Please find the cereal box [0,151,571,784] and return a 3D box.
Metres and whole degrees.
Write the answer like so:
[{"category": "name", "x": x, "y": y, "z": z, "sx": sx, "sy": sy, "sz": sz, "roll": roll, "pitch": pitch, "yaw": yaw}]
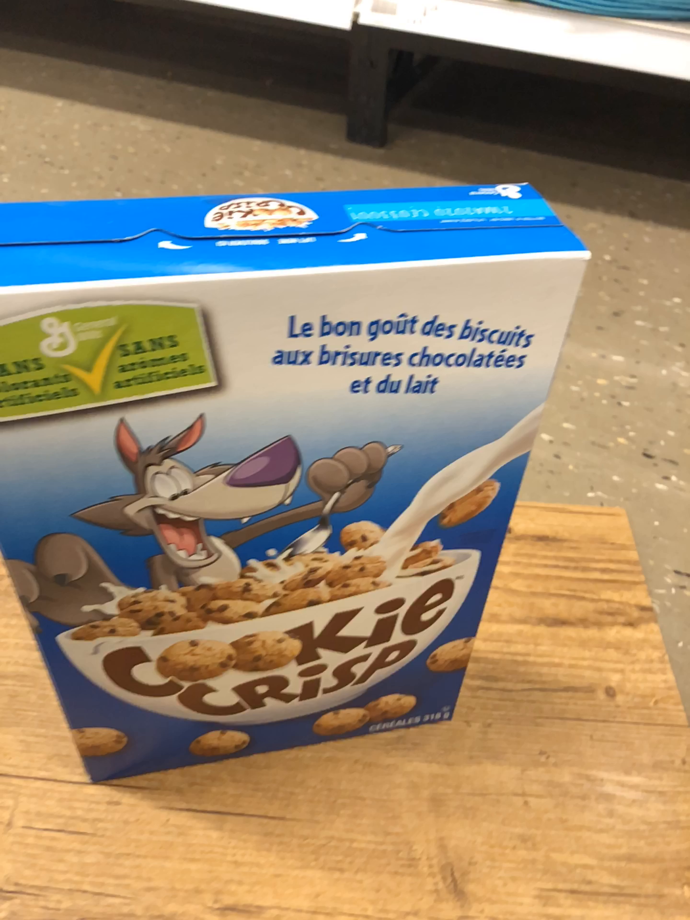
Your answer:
[{"category": "cereal box", "x": -0.047, "y": 0.025, "z": 0.314, "sx": 0.200, "sy": 0.269, "sz": 0.060, "roll": -7, "pitch": 45, "yaw": -11}]
